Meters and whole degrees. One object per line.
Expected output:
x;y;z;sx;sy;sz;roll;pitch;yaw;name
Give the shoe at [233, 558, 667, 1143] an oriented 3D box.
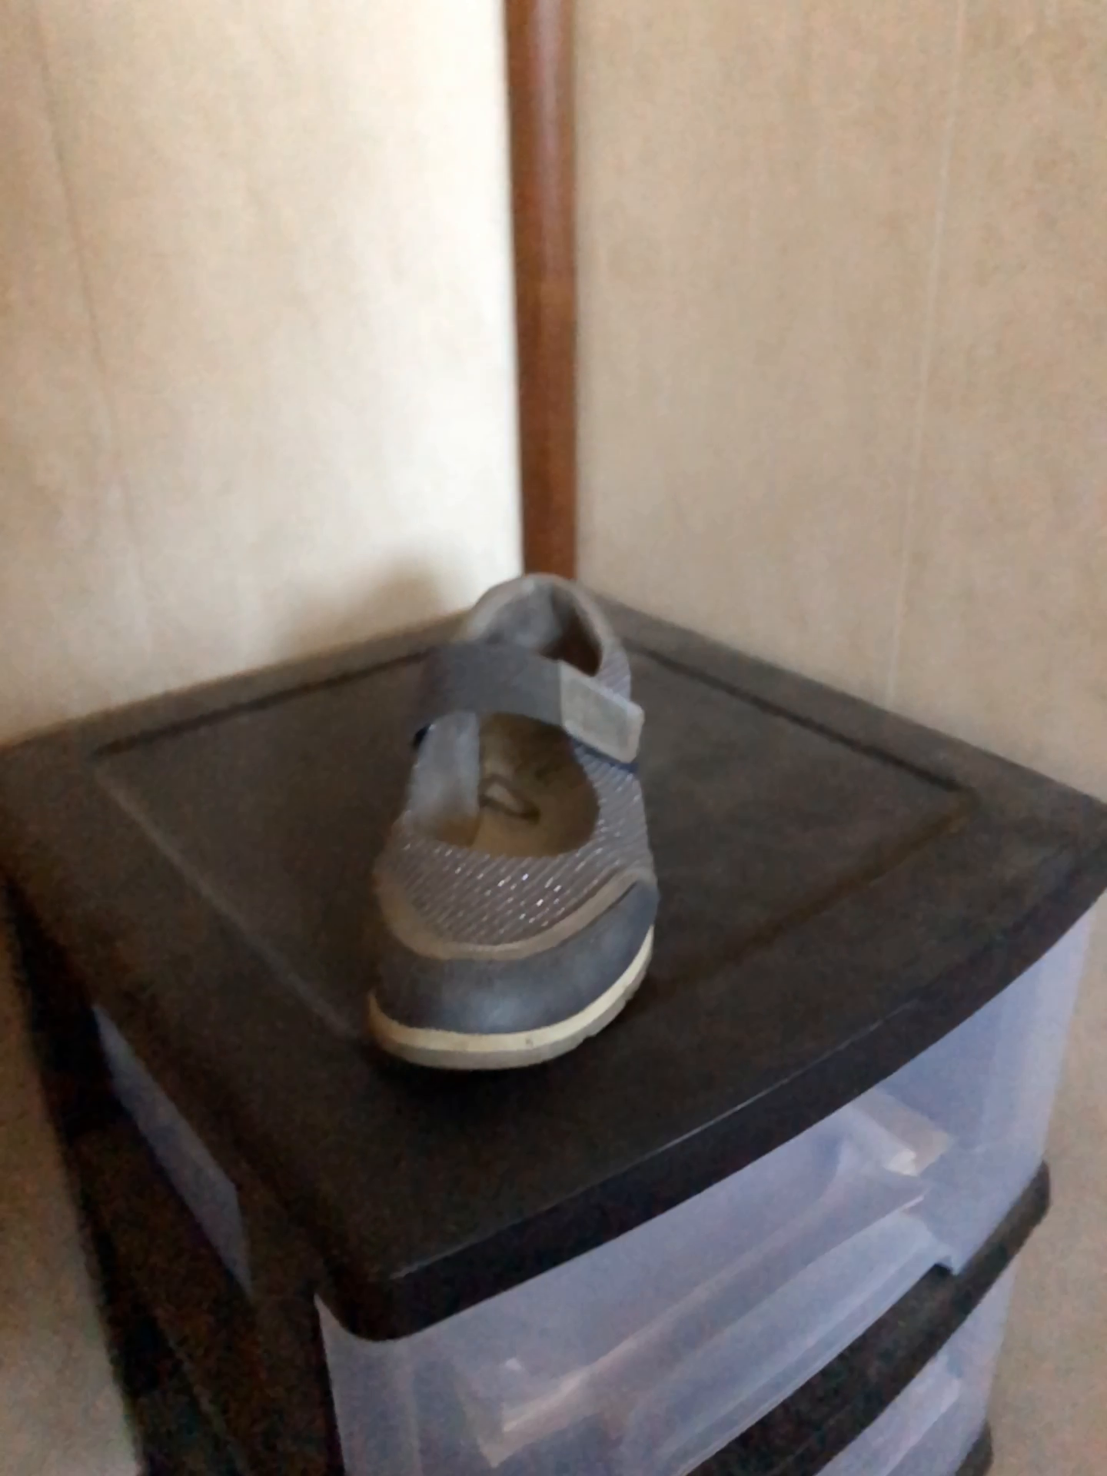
-0.017;0.017;0.442;0.110;0.080;0.262;0;27;4;shoe
